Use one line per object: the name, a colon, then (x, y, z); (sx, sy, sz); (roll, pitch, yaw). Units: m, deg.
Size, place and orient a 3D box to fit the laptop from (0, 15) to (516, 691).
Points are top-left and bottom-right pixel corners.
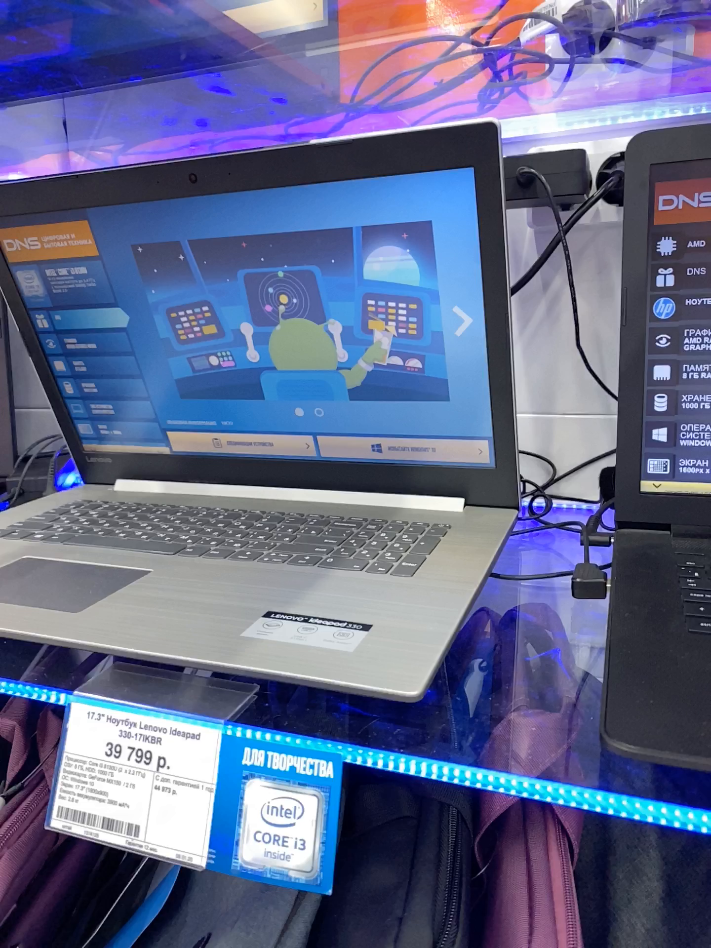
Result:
laptop: (-0.125, -0.075, 0.483); (0.417, 0.256, 0.280); (2, 13, 21)
